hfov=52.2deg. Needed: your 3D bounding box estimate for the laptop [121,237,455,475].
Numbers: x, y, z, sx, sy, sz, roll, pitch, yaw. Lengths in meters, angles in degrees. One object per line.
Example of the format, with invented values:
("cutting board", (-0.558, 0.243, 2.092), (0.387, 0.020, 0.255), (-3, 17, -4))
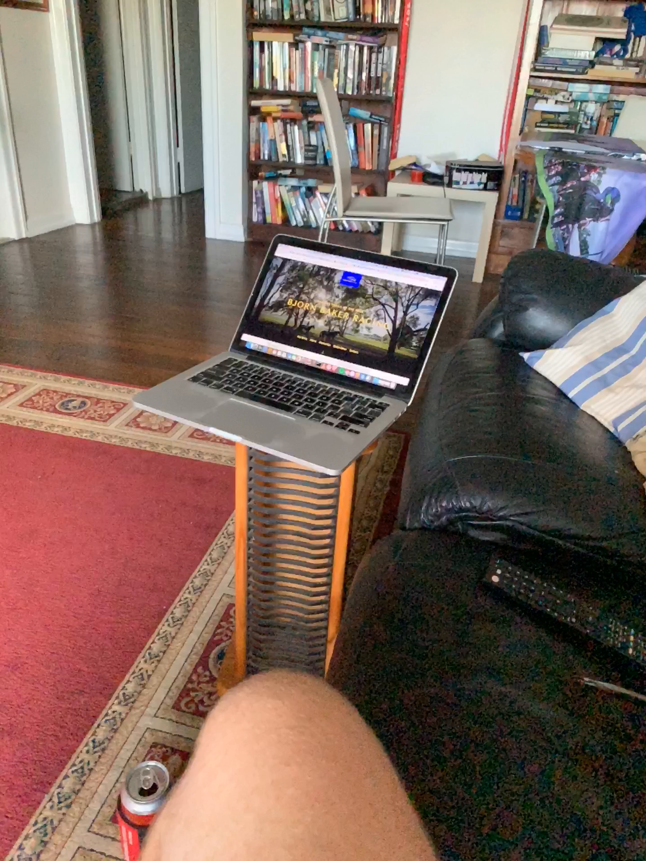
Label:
("laptop", (-0.032, -0.132, 0.905), (0.313, 0.160, 0.341), (18, 31, 24))
